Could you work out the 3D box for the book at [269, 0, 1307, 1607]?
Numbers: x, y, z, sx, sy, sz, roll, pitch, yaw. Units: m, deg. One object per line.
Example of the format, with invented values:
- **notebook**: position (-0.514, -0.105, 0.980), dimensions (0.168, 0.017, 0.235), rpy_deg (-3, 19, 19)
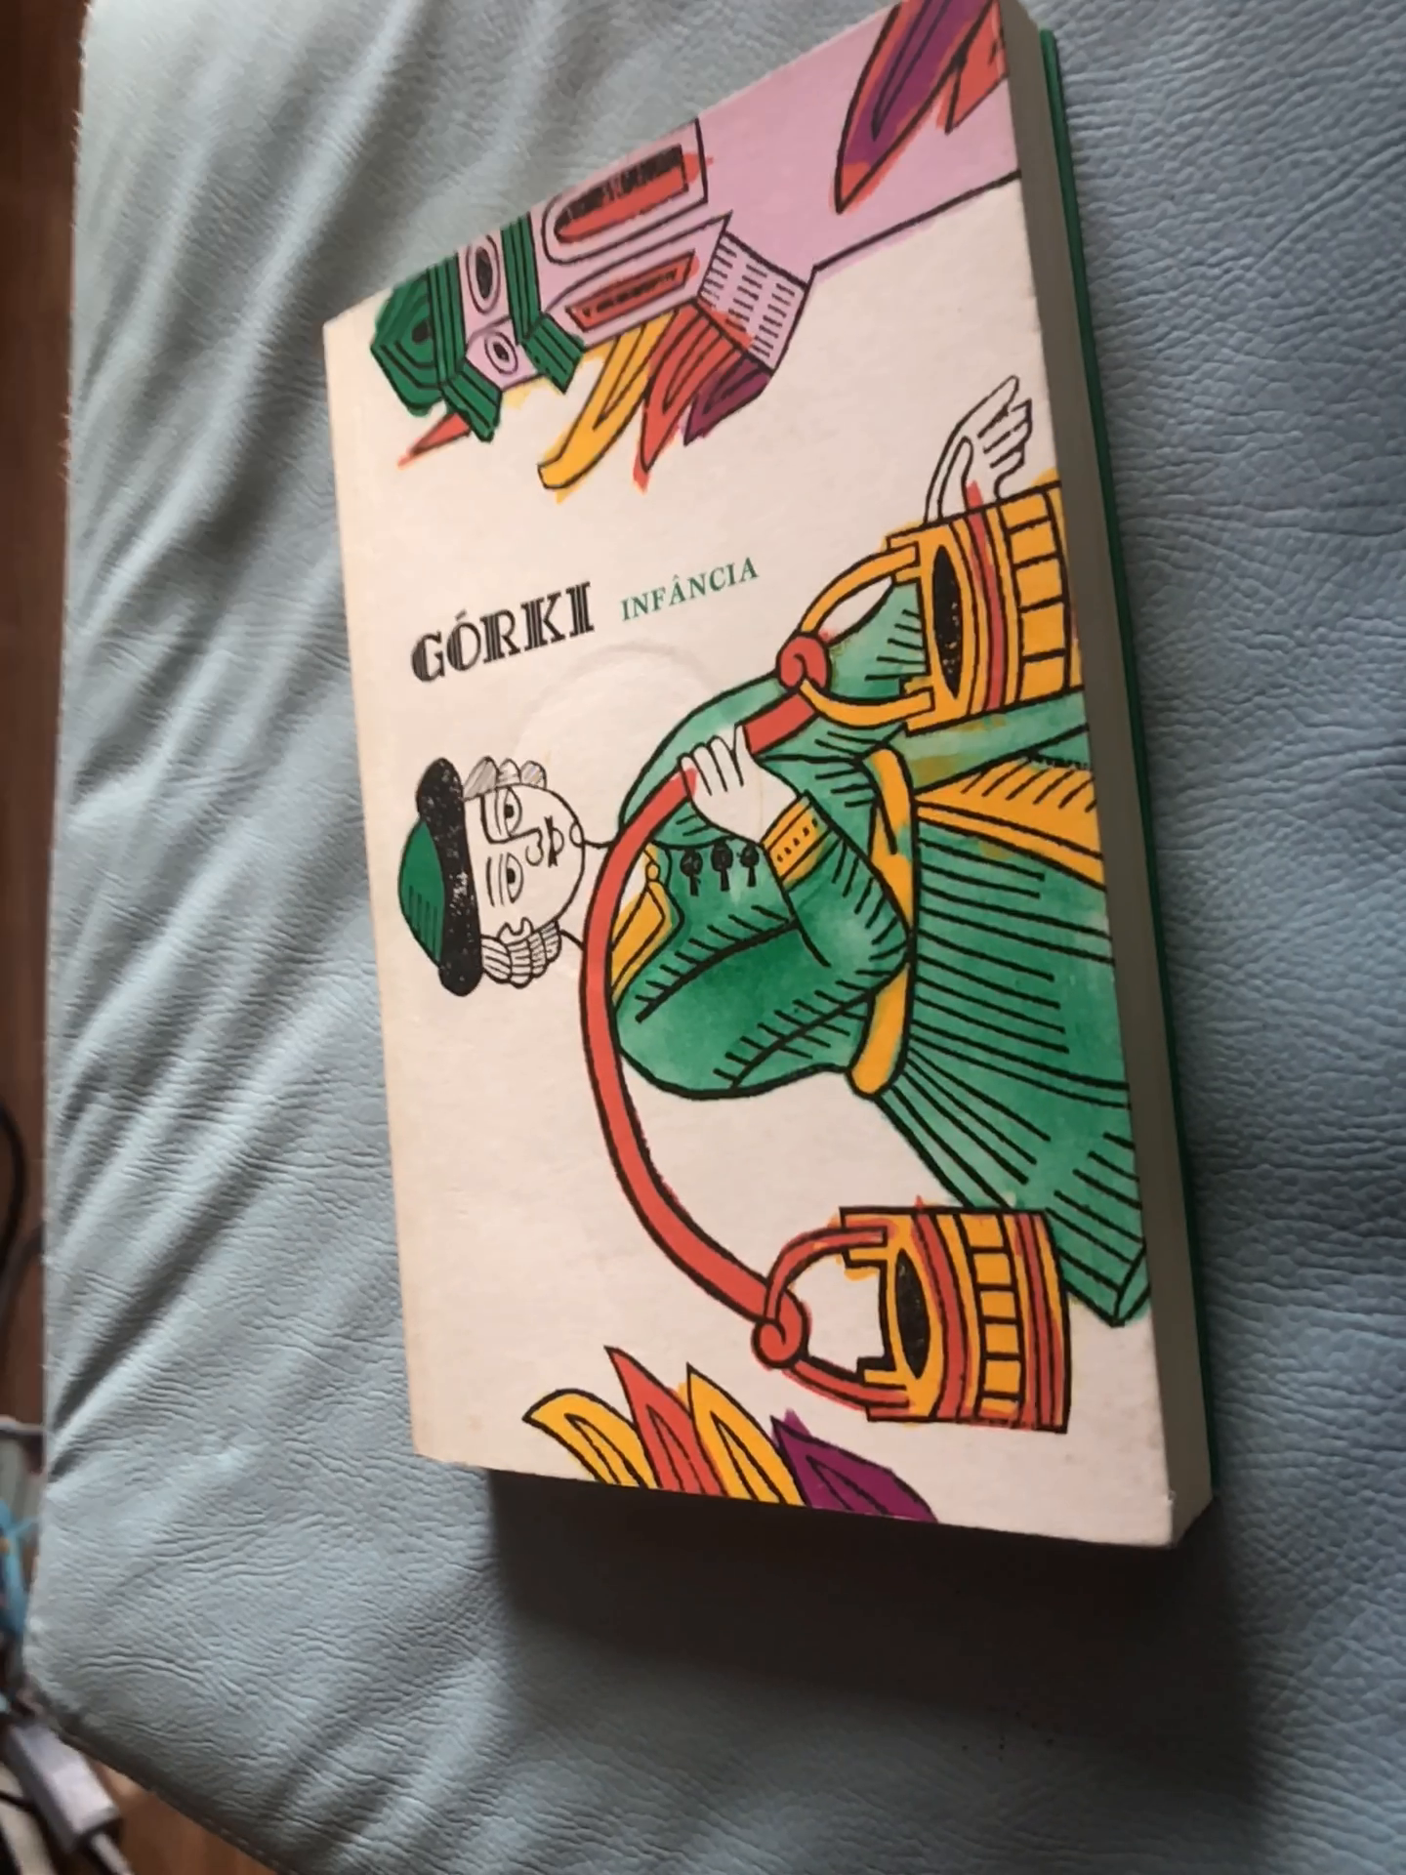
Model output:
- **book**: position (0.000, -0.022, 0.220), dimensions (0.130, 0.030, 0.200), rpy_deg (-9, 84, 36)
